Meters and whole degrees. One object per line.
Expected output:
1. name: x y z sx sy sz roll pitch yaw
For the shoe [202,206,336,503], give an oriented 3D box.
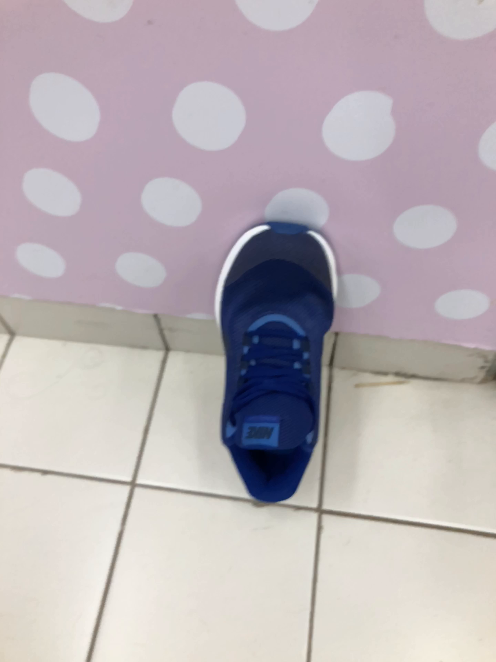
1. shoe: 0.018 0.015 0.500 0.100 0.239 0.110 3 16 5
